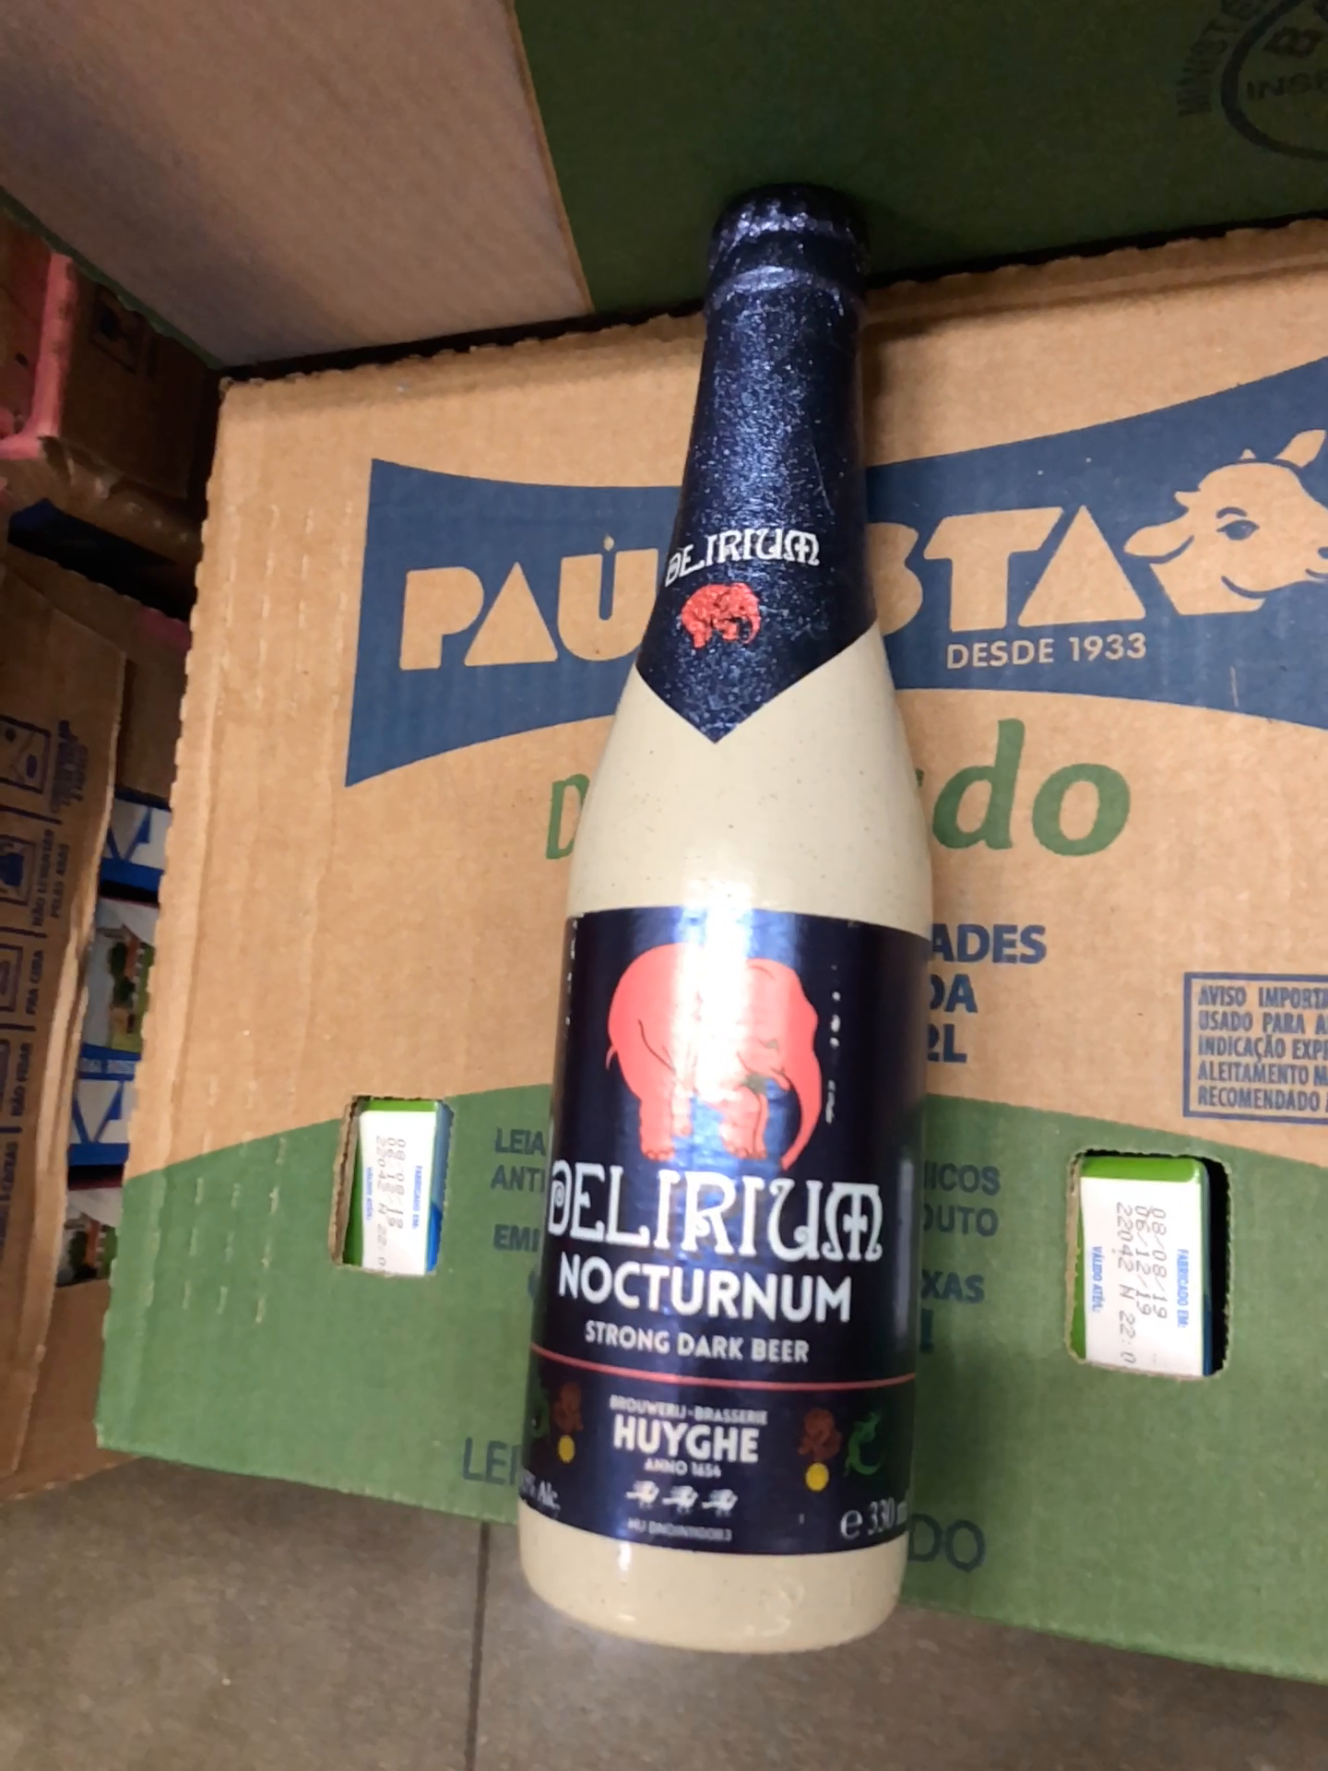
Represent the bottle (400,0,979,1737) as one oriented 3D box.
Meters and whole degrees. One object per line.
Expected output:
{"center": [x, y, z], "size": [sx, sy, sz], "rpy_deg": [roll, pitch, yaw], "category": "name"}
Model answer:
{"center": [0.011, -0.017, 0.232], "size": [0.060, 0.050, 0.250], "rpy_deg": [0, 79, 22], "category": "bottle"}
